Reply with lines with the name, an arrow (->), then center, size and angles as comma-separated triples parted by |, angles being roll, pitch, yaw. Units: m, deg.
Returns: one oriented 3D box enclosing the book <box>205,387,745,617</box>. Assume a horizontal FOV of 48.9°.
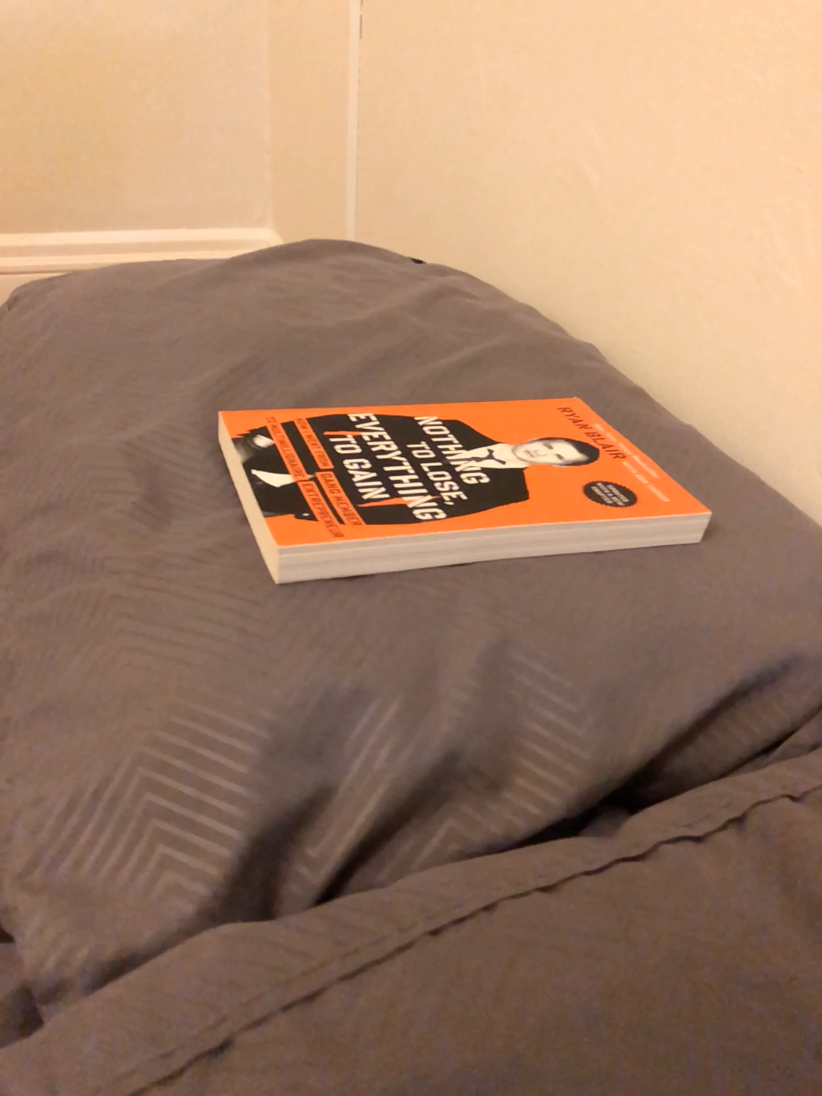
book -> 0.025, -0.034, 0.451 | 0.230, 0.020, 0.151 | -5, 38, -20
